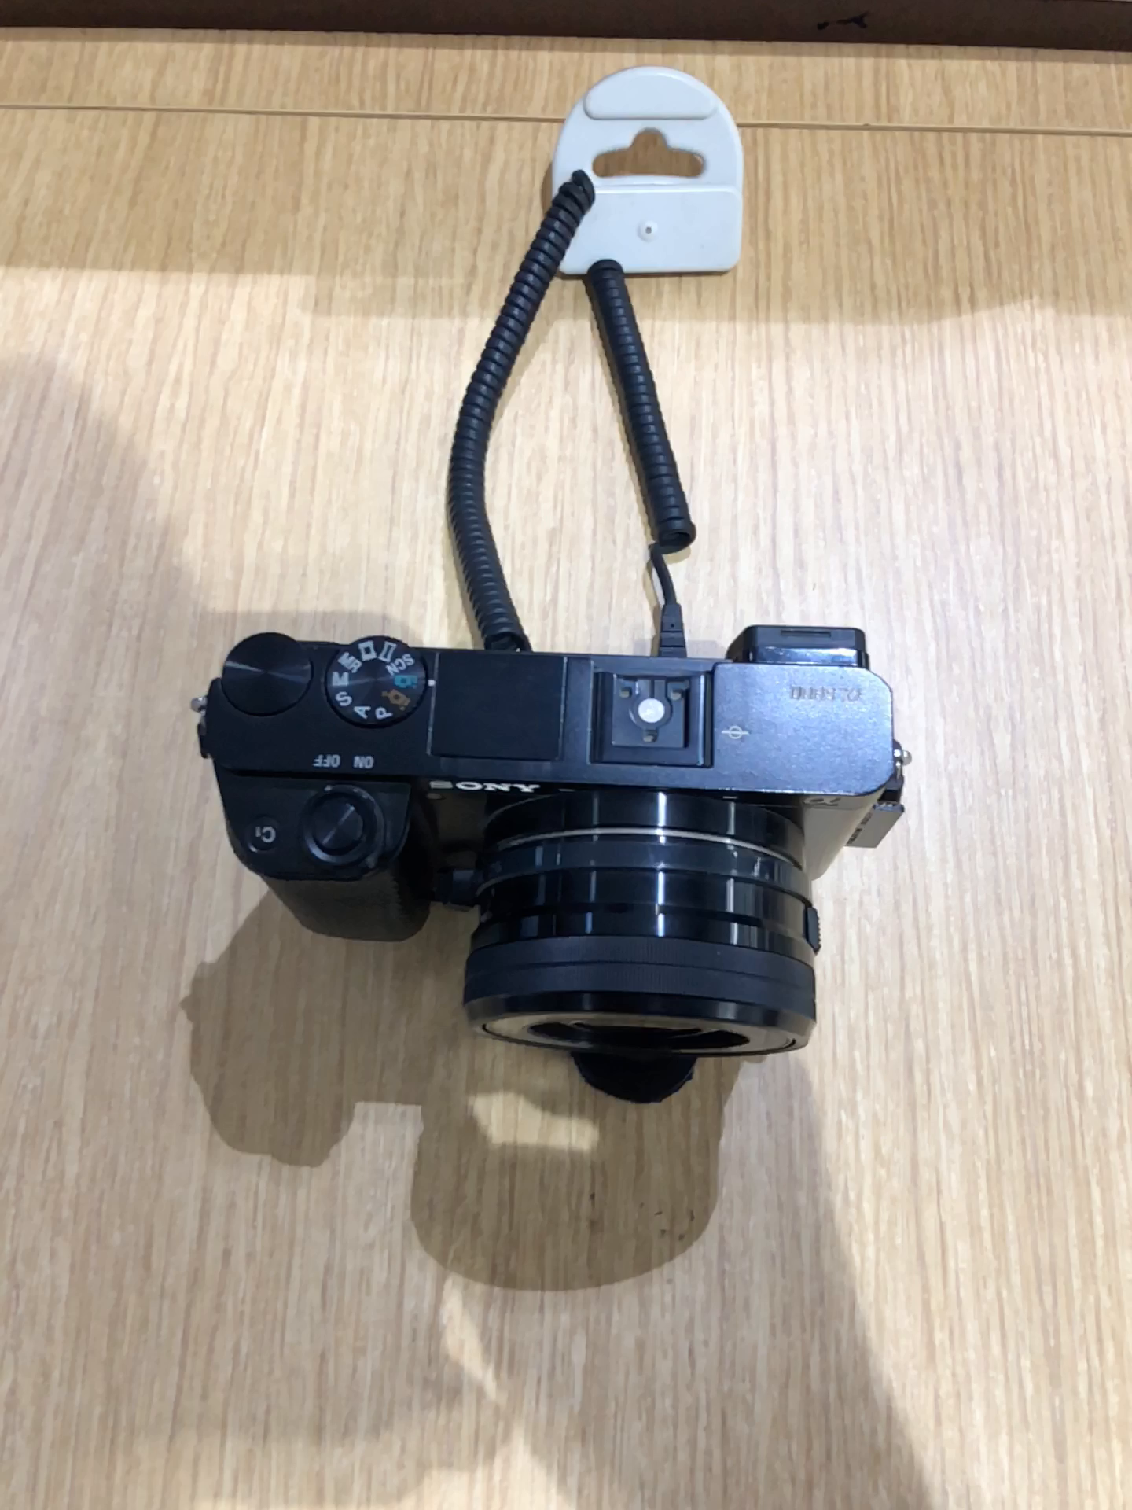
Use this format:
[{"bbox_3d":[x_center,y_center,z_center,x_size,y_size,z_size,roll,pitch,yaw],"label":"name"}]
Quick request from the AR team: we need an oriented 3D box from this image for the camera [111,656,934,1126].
[{"bbox_3d":[-0.005,0.026,0.206,0.107,0.070,0.059,1,69,1],"label":"camera"}]
